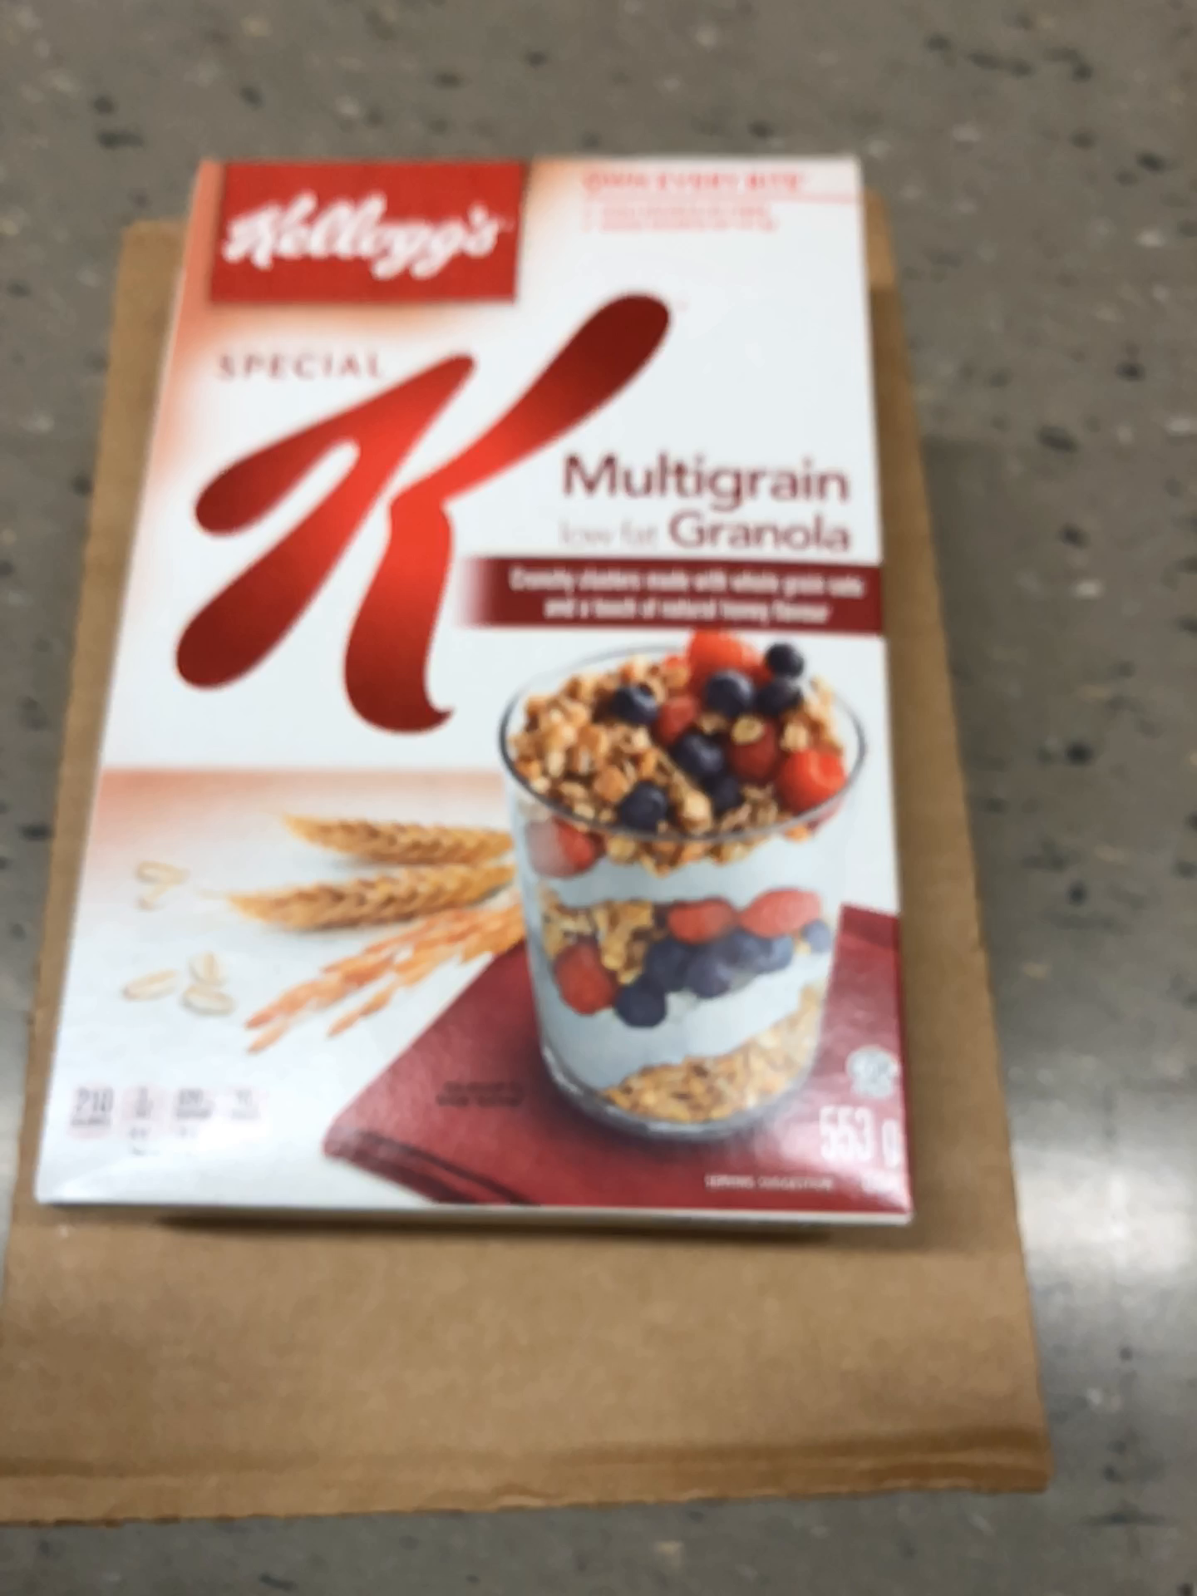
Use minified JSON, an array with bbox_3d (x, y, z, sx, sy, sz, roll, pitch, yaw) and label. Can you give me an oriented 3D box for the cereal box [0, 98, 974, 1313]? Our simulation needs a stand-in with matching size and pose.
[{"bbox_3d":[-0.021,-0.031,0.308,0.180,0.050,0.270,4,67,-5],"label":"cereal box"}]
